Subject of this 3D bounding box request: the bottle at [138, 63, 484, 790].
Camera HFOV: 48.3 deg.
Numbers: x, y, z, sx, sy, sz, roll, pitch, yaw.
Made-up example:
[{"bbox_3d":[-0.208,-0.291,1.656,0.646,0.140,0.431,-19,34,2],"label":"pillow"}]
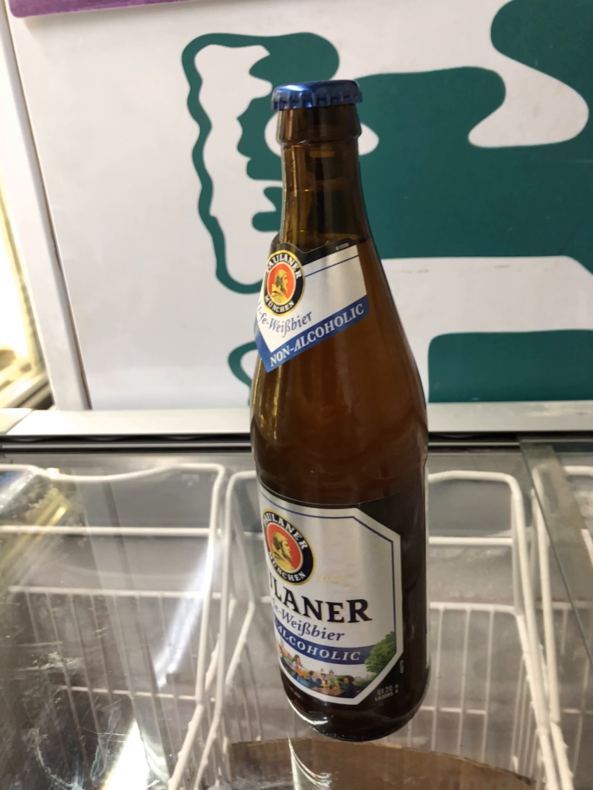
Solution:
[{"bbox_3d":[0.012,0.019,0.247,0.070,0.248,0.080,-20,27,-32],"label":"bottle"}]
